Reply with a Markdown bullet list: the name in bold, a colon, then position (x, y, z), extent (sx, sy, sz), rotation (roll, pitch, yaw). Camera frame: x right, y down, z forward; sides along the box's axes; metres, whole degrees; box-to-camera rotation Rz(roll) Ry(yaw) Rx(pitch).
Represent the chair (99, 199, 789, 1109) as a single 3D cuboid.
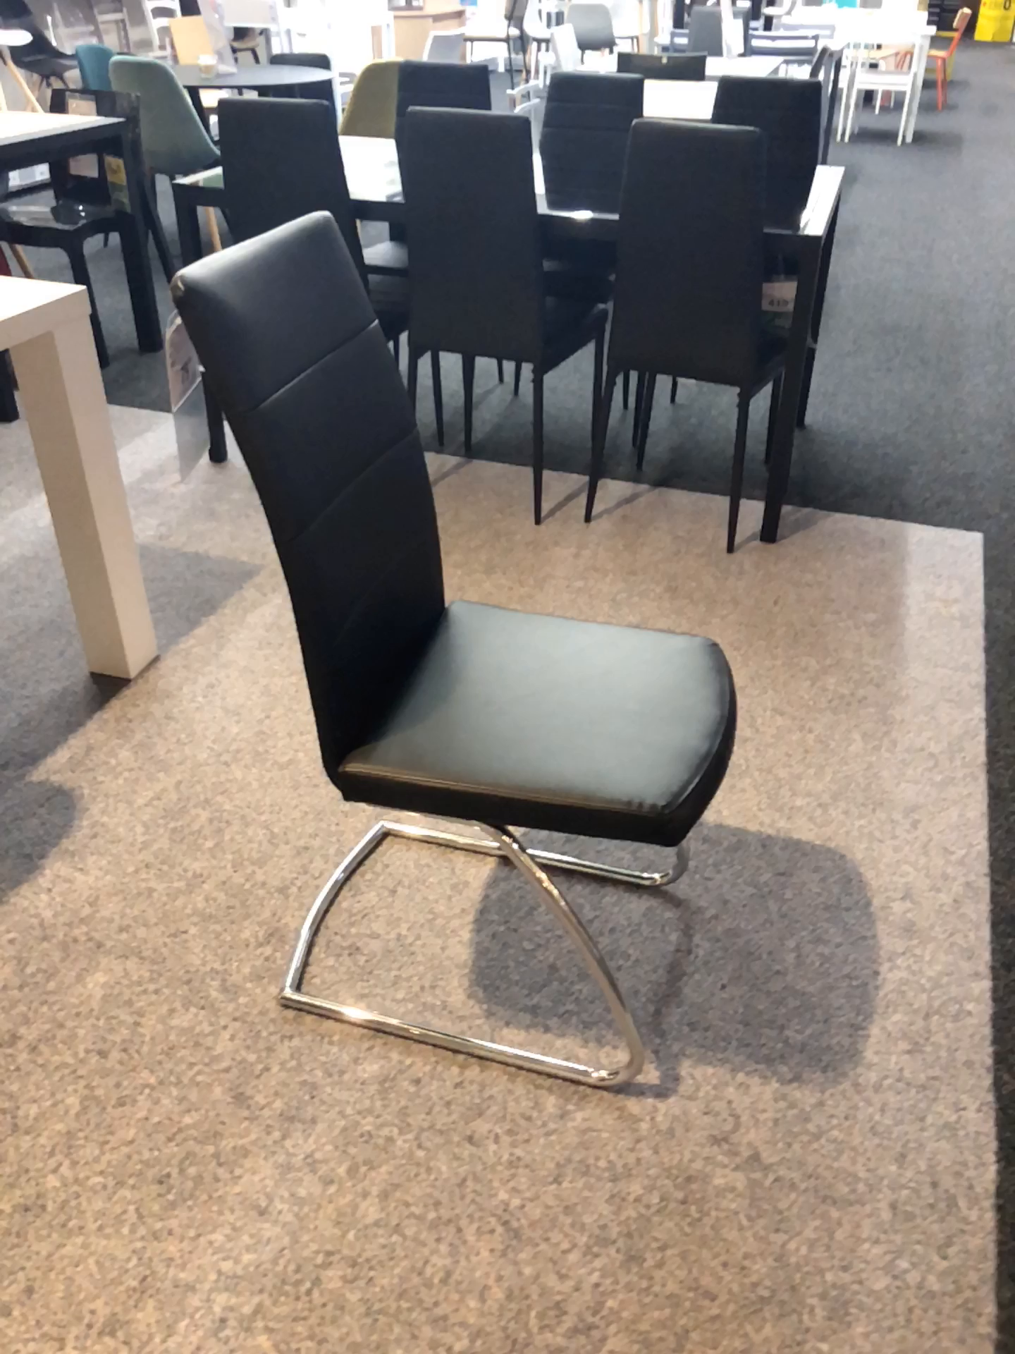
- **chair**: position (-0.024, -0.035, 1.348), extent (0.559, 0.904, 0.493), rotation (9, 33, 12)
